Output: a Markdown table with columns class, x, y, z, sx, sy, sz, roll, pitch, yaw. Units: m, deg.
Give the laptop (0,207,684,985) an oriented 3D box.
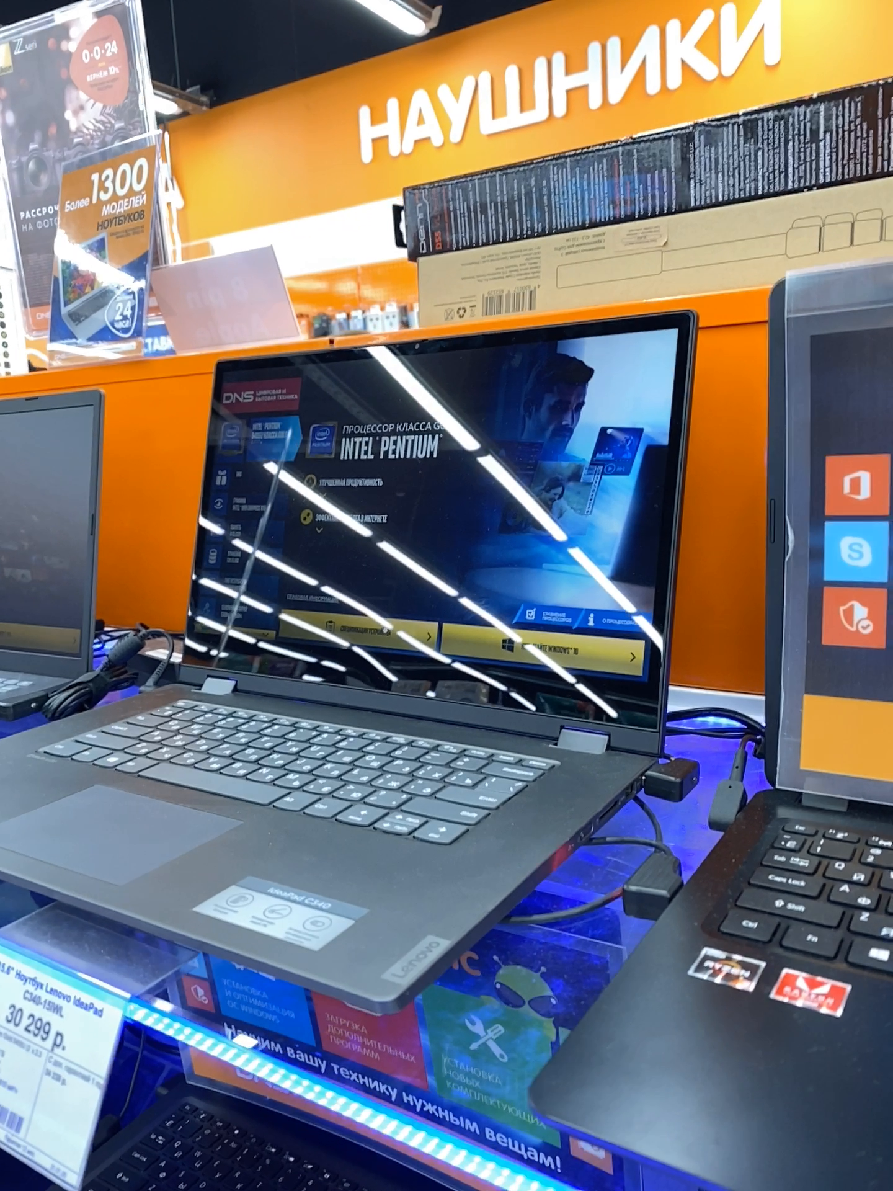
| class | x | y | z | sx | sy | sz | roll | pitch | yaw |
| --- | --- | --- | --- | --- | --- | --- | --- | --- | --- |
| laptop | -0.100 | -0.028 | 0.494 | 0.363 | 0.232 | 0.318 | 3 | 11 | 30 |
